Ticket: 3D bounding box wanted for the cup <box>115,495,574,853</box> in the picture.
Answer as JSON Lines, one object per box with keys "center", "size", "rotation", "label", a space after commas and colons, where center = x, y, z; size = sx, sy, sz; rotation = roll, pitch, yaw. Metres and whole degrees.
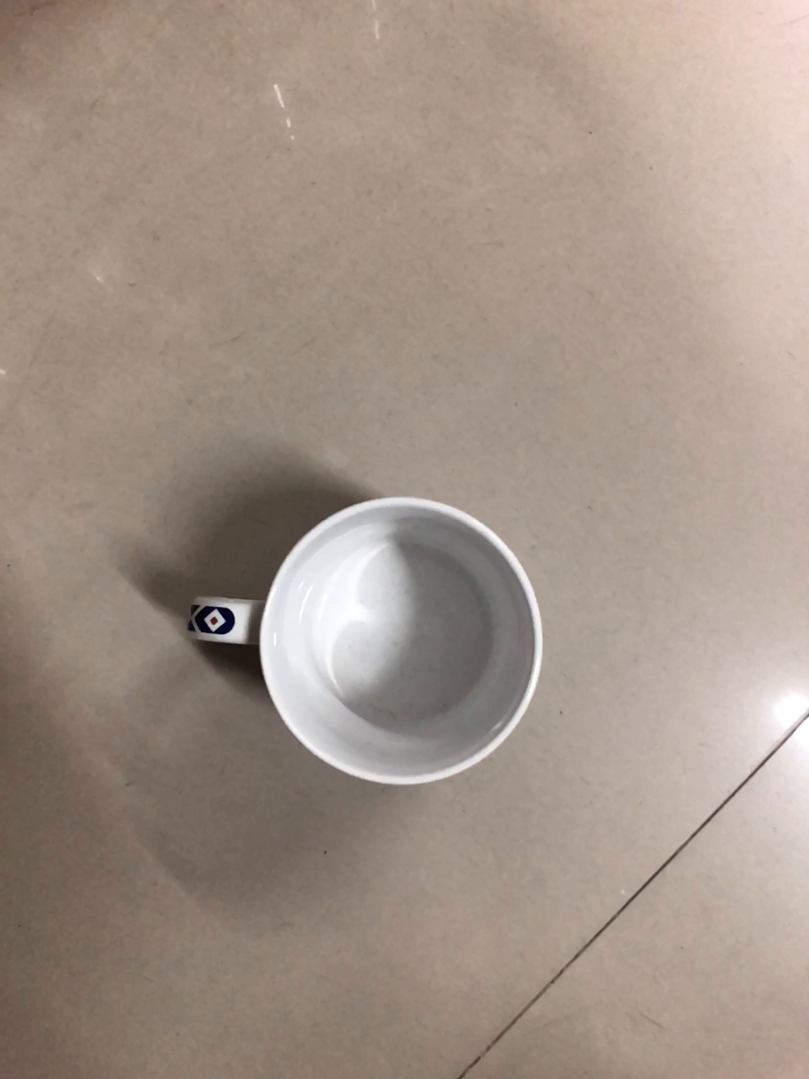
{"center": [-0.014, 0.036, 0.269], "size": [0.110, 0.080, 0.080], "rotation": [6, 86, 2], "label": "cup"}
